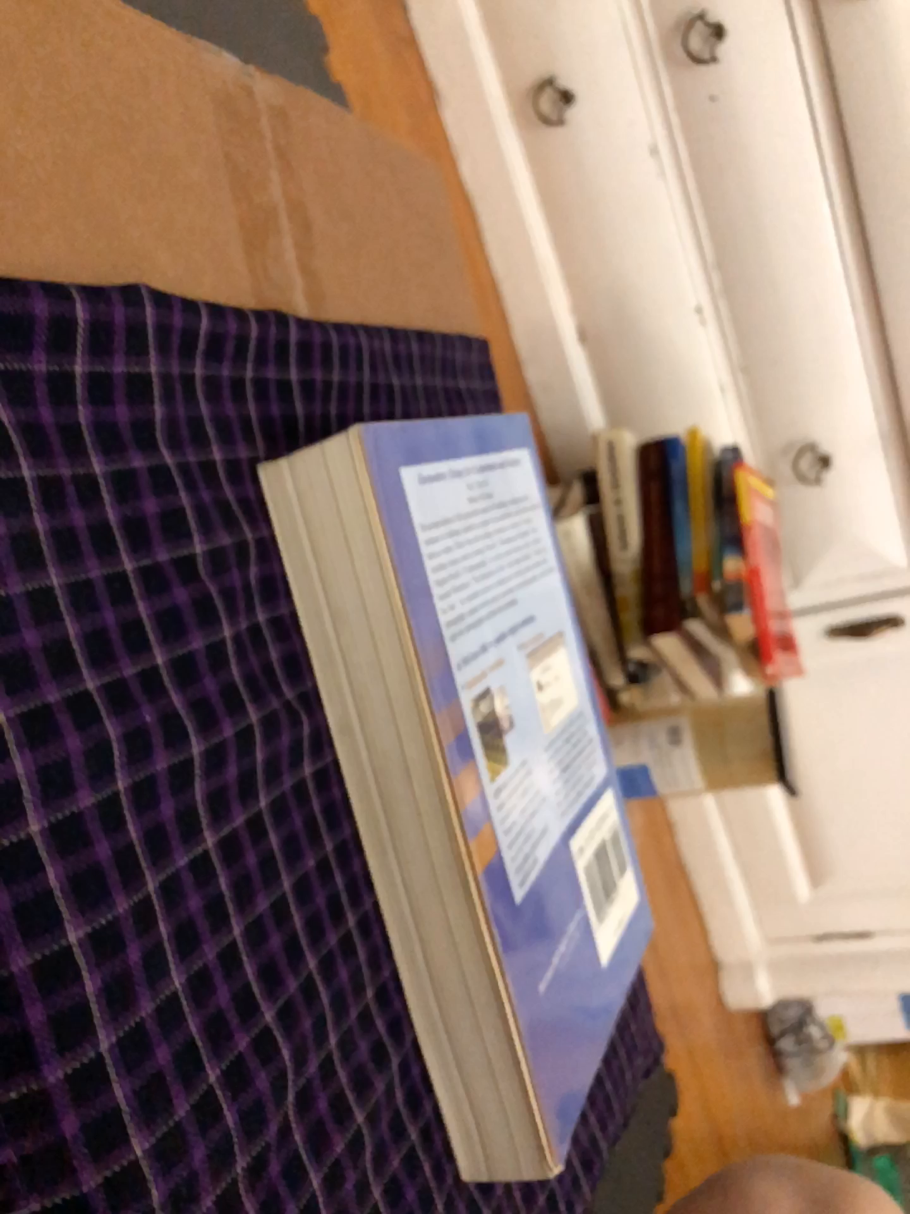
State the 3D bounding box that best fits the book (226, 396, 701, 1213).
[{"bbox_3d":[0.023,0.053,0.359,0.181,0.040,0.240,-31,107,-64],"label":"book"}]
